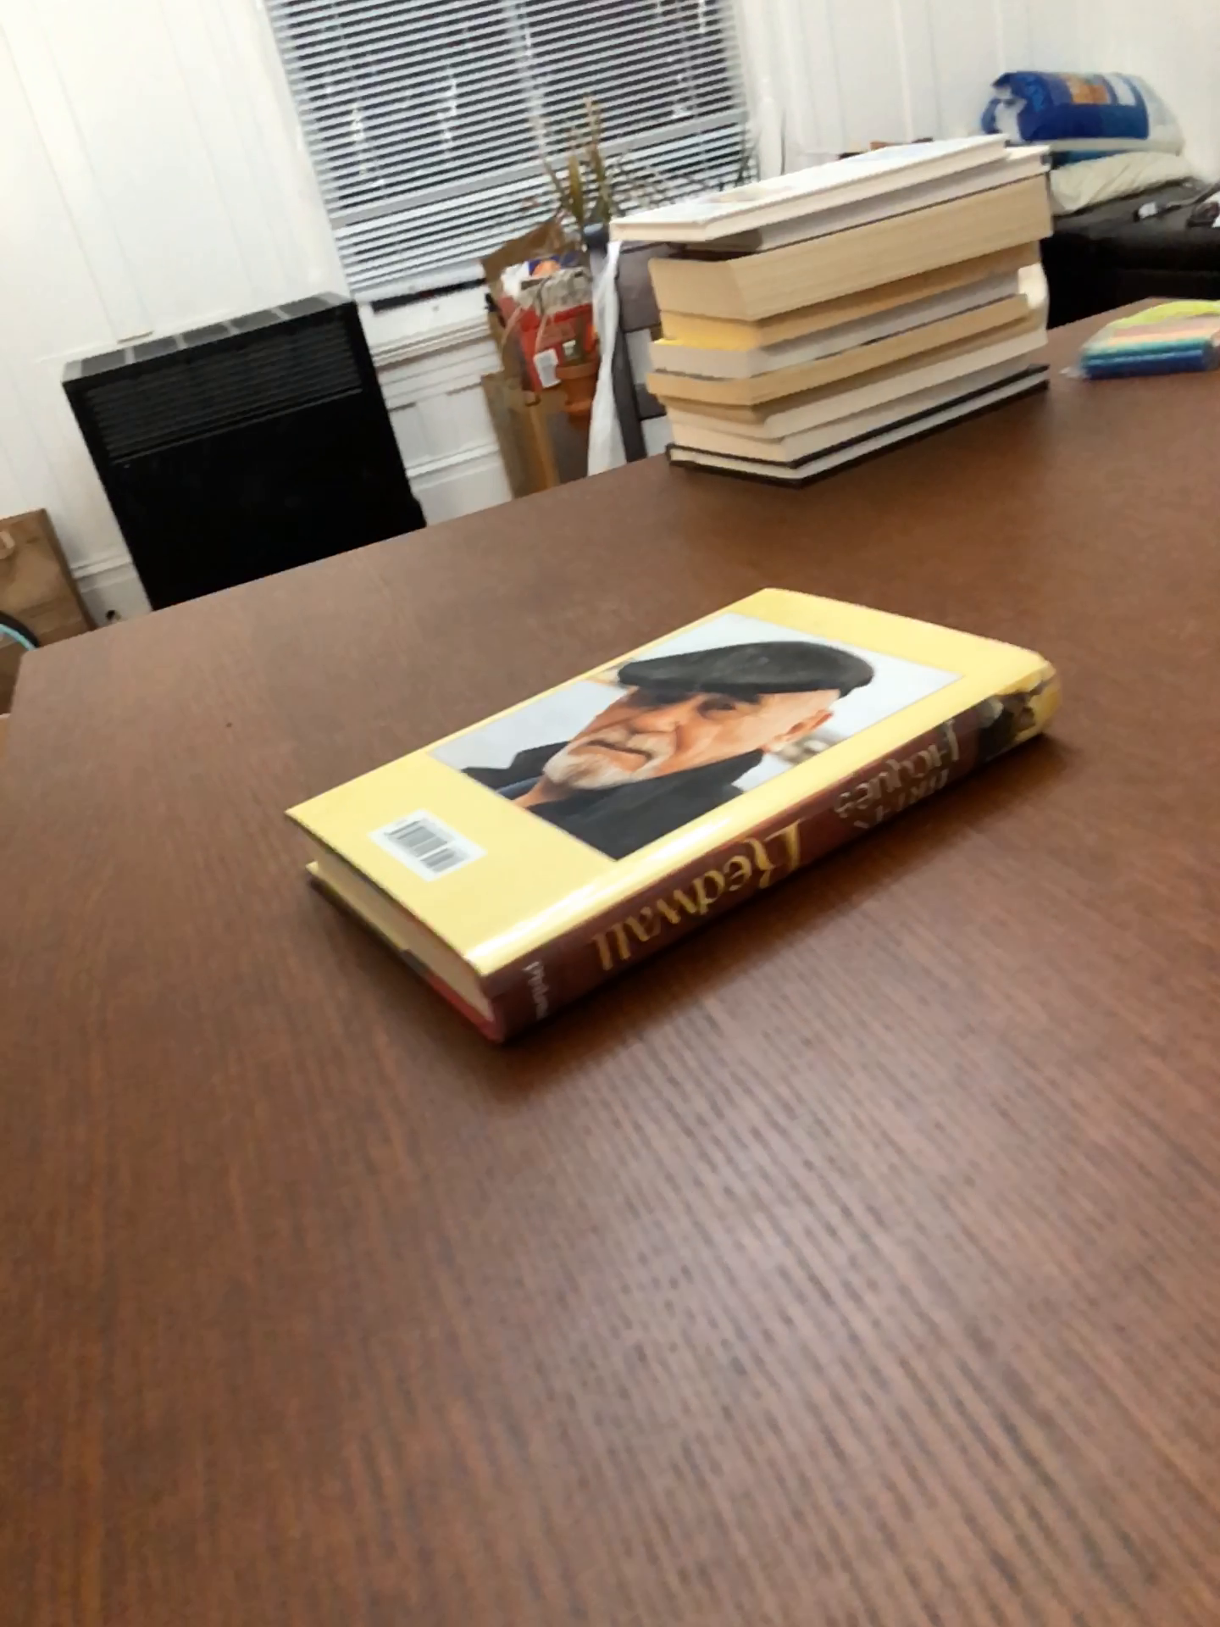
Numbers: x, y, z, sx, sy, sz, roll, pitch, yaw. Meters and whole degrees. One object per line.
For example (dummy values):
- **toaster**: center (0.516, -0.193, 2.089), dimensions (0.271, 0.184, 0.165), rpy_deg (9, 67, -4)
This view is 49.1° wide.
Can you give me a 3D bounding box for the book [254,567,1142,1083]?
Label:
- **book**: center (0.025, -0.019, 0.474), dimensions (0.250, 0.030, 0.191), rpy_deg (-26, 29, -24)
